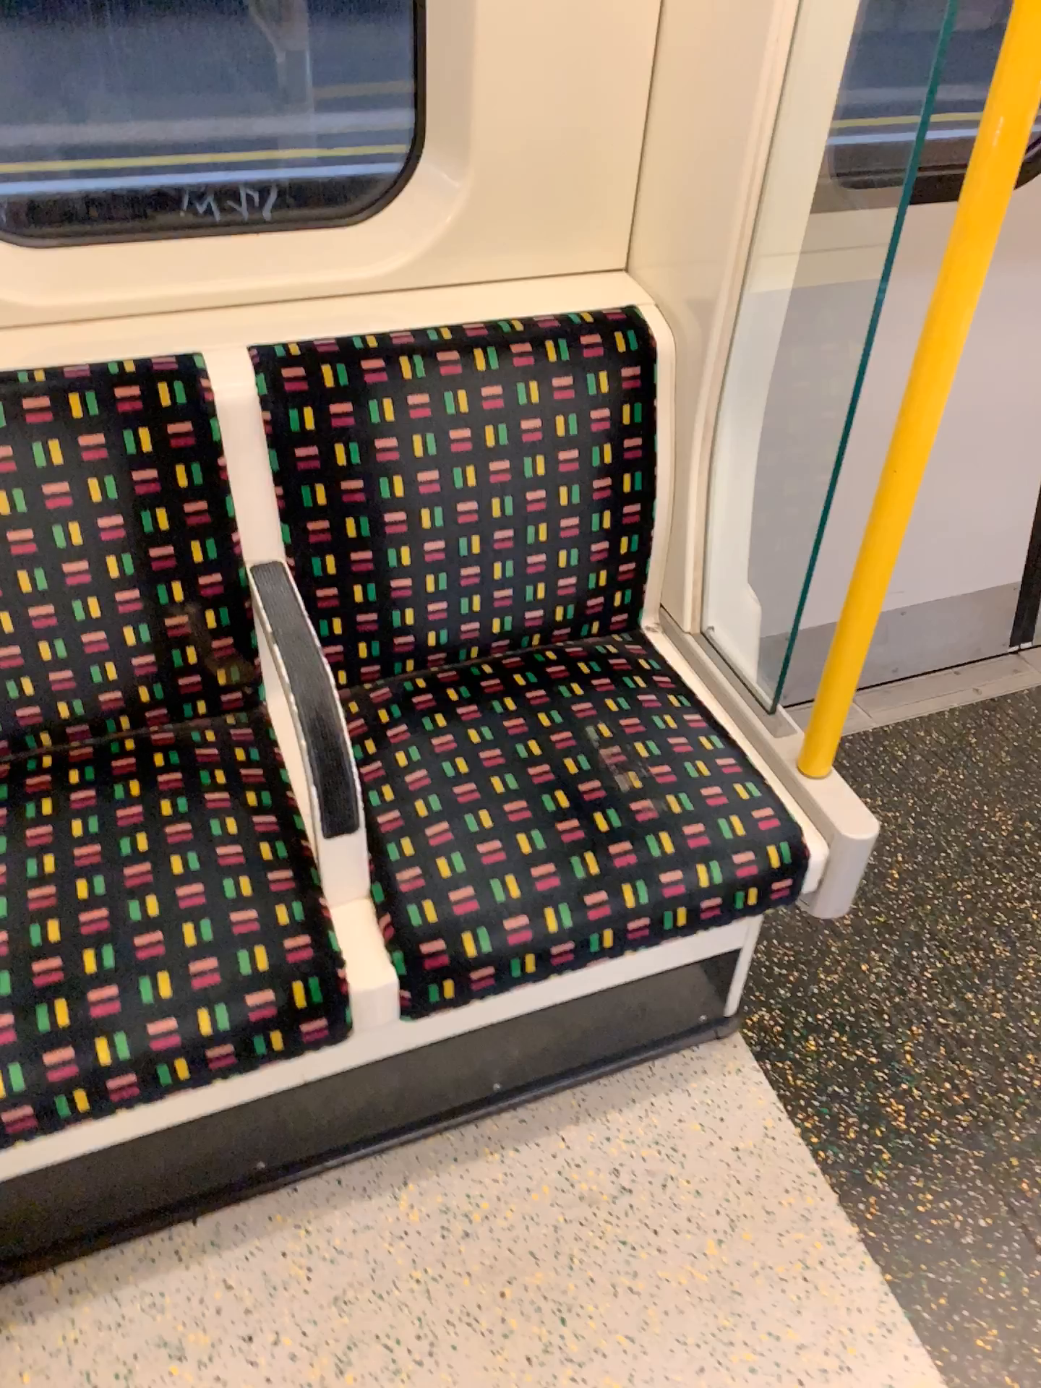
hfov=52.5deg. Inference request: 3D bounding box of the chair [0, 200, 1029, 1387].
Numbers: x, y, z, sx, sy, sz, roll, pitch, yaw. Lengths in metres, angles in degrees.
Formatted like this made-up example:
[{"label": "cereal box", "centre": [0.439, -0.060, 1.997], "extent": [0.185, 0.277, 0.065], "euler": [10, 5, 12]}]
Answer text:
[{"label": "chair", "centre": [-0.311, 0.029, 1.161], "extent": [1.062, 0.762, 0.918], "euler": [-13, 43, -18]}]
